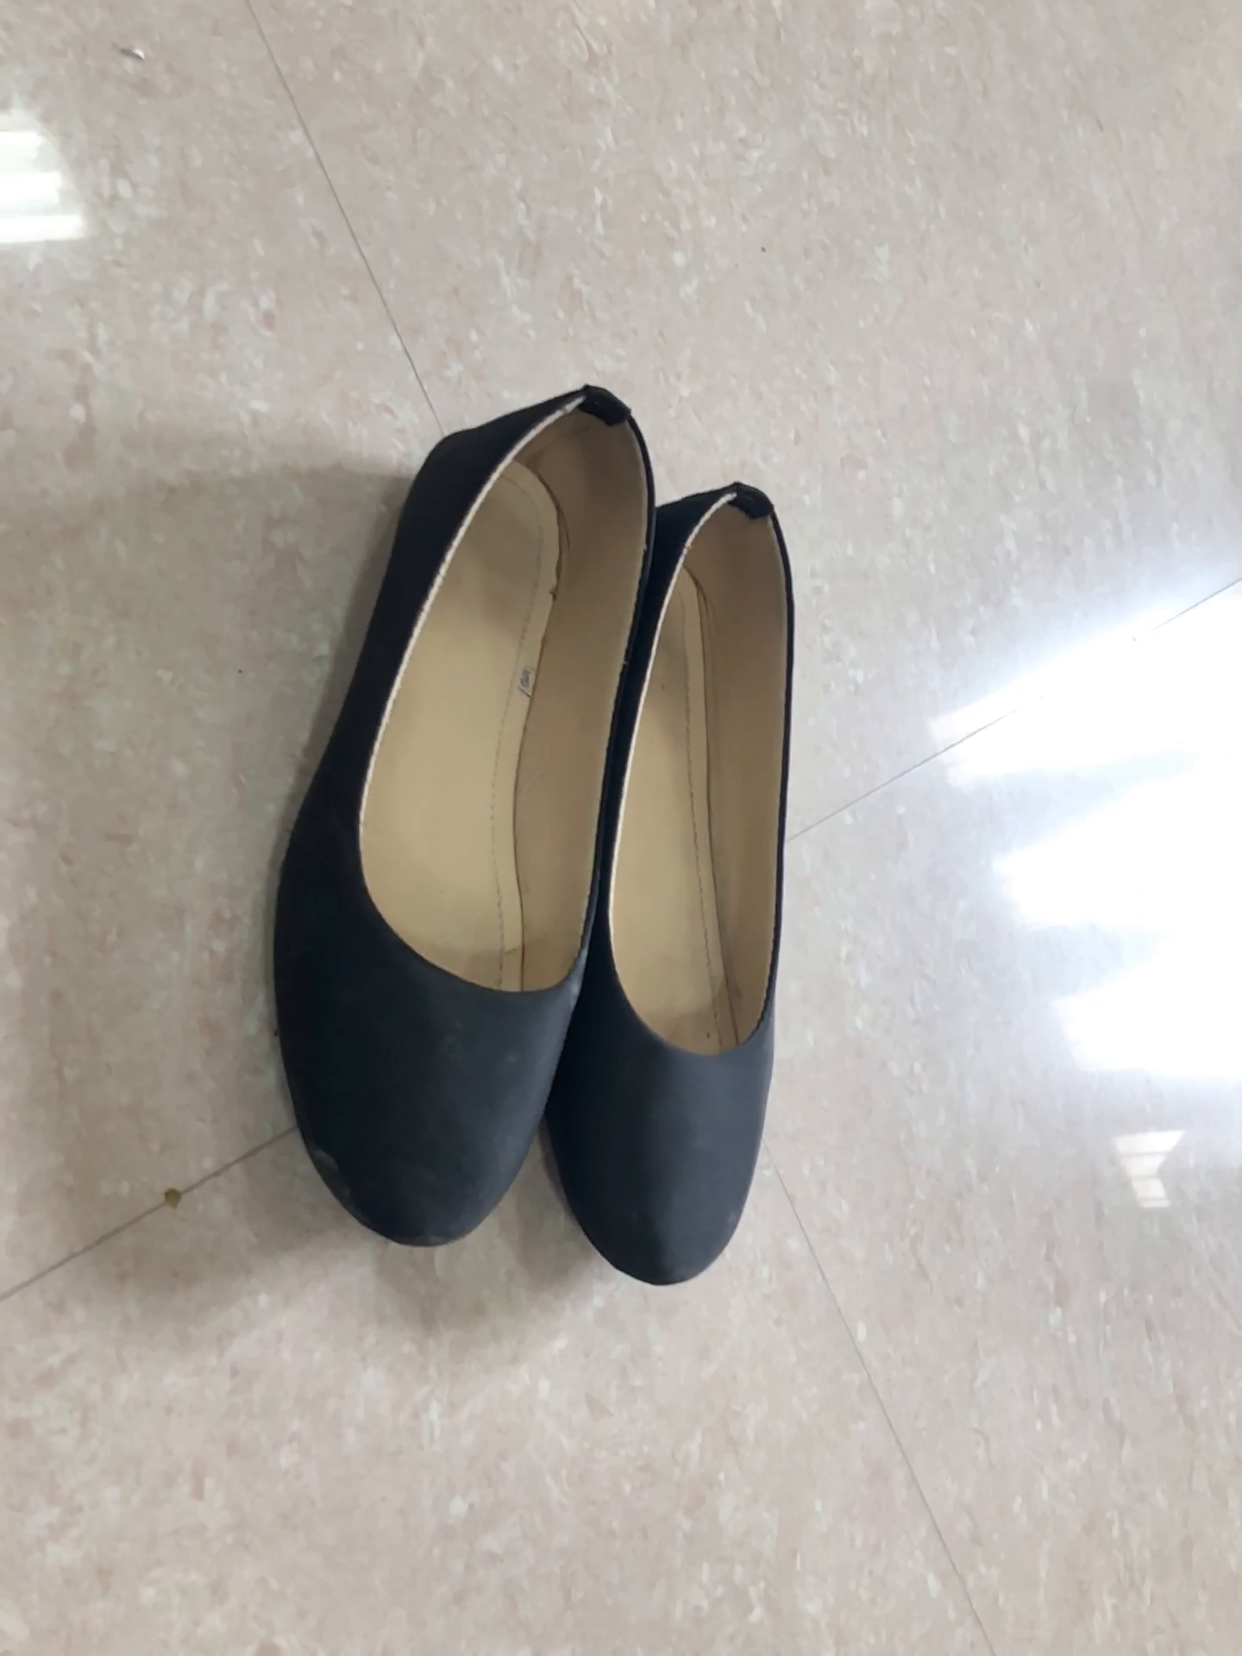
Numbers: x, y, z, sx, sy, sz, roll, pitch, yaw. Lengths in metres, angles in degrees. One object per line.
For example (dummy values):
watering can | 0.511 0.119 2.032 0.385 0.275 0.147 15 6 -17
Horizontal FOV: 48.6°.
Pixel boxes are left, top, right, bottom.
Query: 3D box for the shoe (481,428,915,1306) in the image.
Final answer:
shoe | 0.023 0.017 0.414 0.093 0.075 0.239 15 67 -36

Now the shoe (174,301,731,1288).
shoe | -0.037 -0.006 0.373 0.092 0.075 0.239 21 64 -34
